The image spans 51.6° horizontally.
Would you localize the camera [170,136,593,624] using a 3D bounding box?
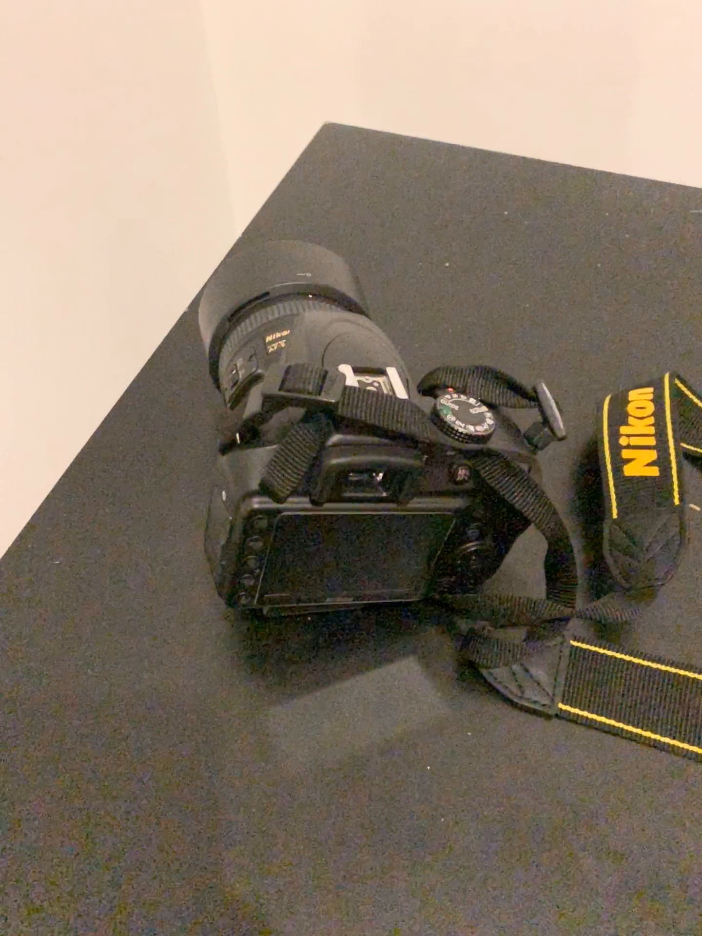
[{"bbox_3d":[-0.010,-0.051,0.328,0.116,0.089,0.221,1,44,-21],"label":"camera"}]
